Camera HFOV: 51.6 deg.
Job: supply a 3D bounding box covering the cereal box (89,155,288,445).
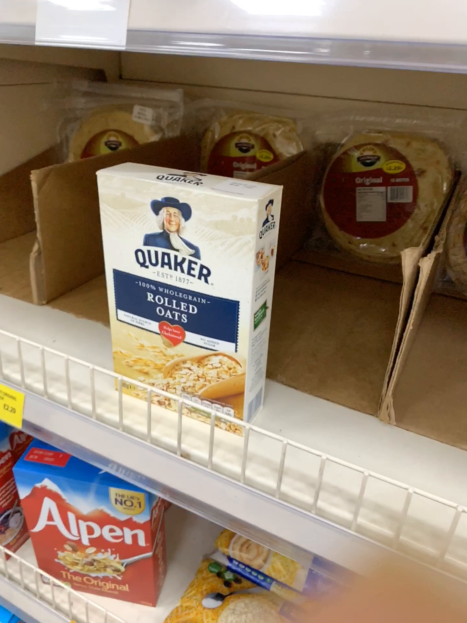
[{"bbox_3d":[-0.041,-0.009,0.430,0.150,0.228,0.050,15,30,22],"label":"cereal box"}]
